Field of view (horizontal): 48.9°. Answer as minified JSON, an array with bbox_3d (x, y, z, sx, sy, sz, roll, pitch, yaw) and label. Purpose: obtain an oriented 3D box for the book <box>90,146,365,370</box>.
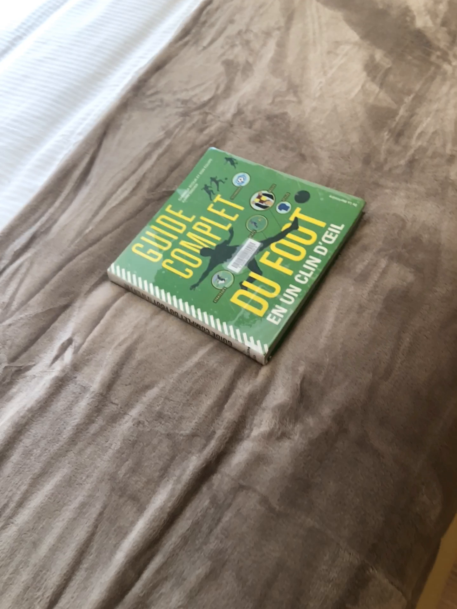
[{"bbox_3d":[-0.002,-0.073,0.591,0.238,0.019,0.228,26,67,24],"label":"book"}]
